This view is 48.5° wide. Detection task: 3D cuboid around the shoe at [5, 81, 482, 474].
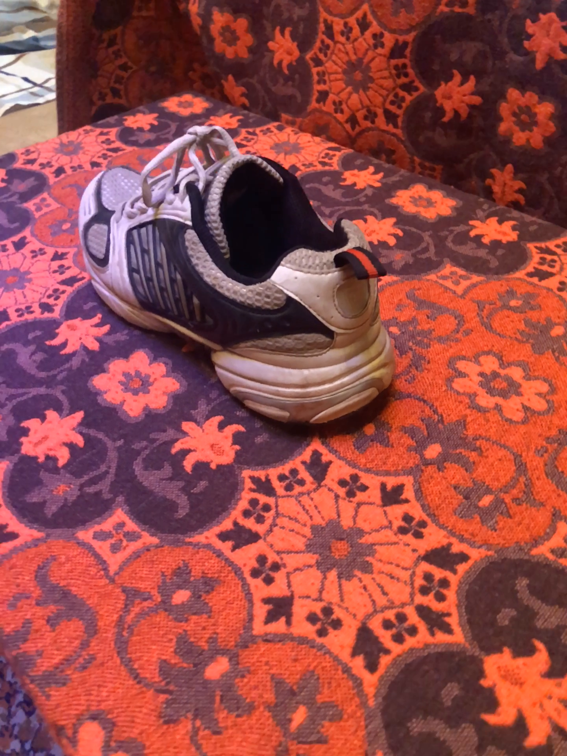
[{"bbox_3d":[-0.043,-0.090,0.416,0.120,0.109,0.301,-33,52,-30],"label":"shoe"}]
